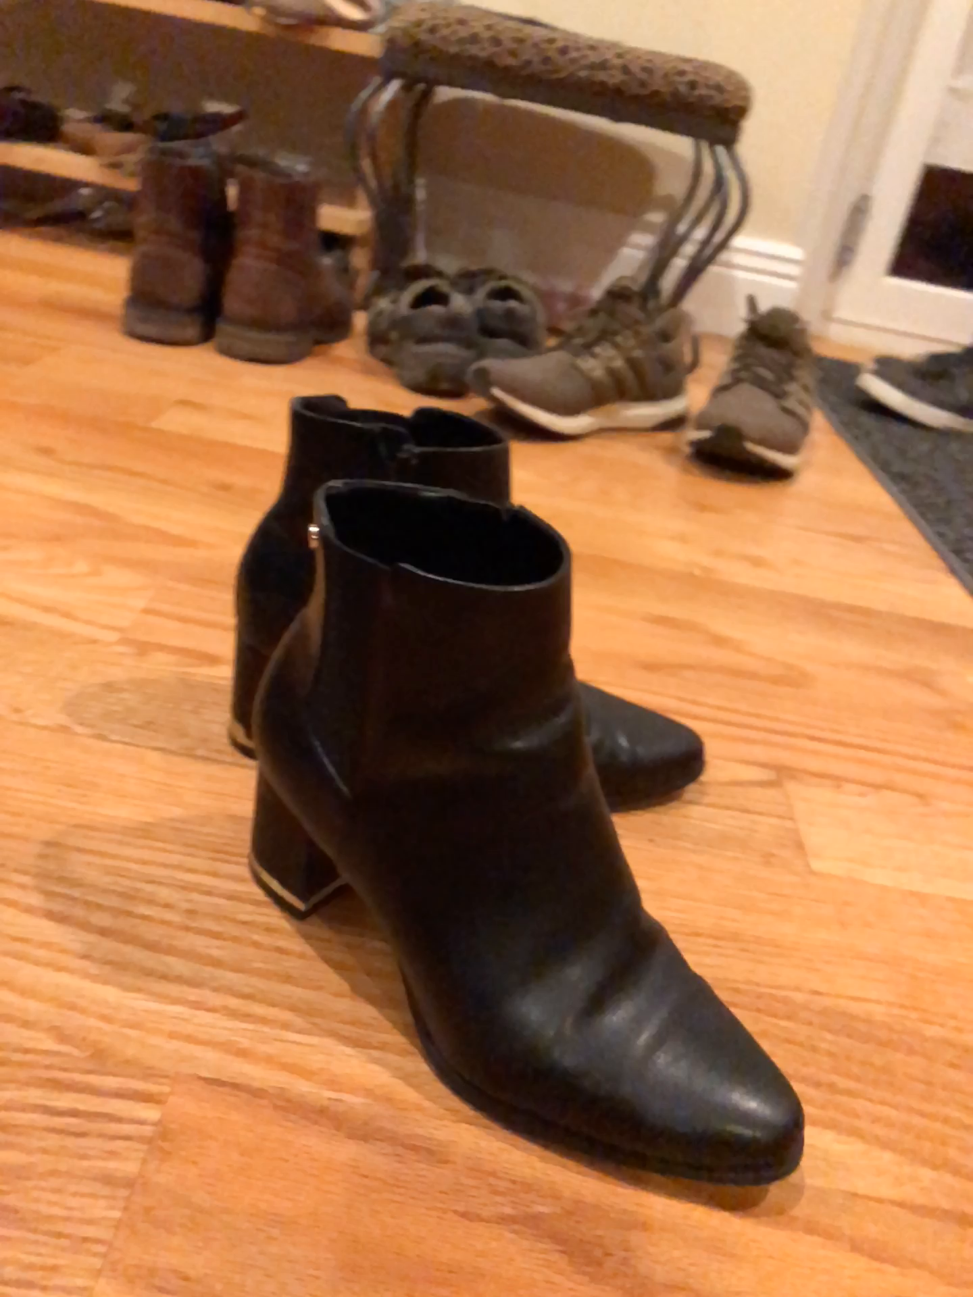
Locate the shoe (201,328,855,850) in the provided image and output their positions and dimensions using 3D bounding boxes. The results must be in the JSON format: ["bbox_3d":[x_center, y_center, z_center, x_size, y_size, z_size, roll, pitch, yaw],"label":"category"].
[{"bbox_3d":[0.007,-0.024,0.481,0.236,0.175,0.096,8,27,-7],"label":"shoe"}]

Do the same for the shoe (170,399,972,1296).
[{"bbox_3d":[0.013,0.044,0.352,0.237,0.175,0.095,29,32,31],"label":"shoe"}]
